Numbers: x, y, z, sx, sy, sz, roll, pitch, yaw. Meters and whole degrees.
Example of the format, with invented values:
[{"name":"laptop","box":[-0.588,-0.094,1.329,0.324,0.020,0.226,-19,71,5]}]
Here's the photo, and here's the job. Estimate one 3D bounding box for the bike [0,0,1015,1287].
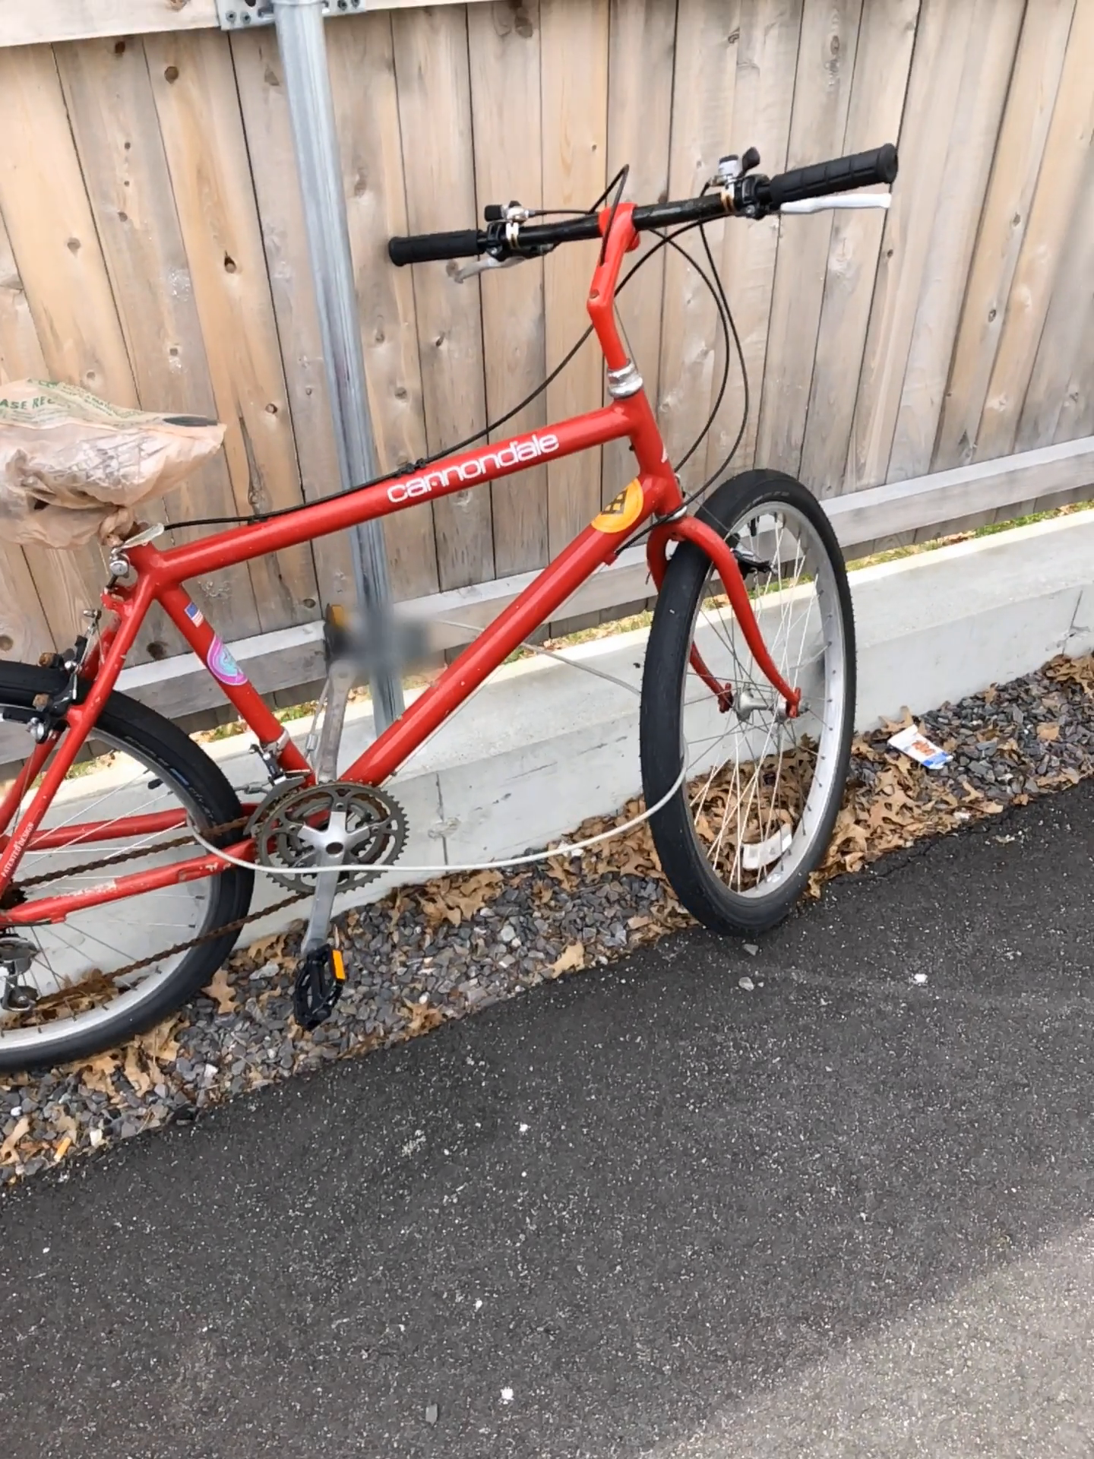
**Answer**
[{"name":"bike","box":[-0.291,-0.199,1.457,1.476,1.001,0.595,-18,40,-16]}]
